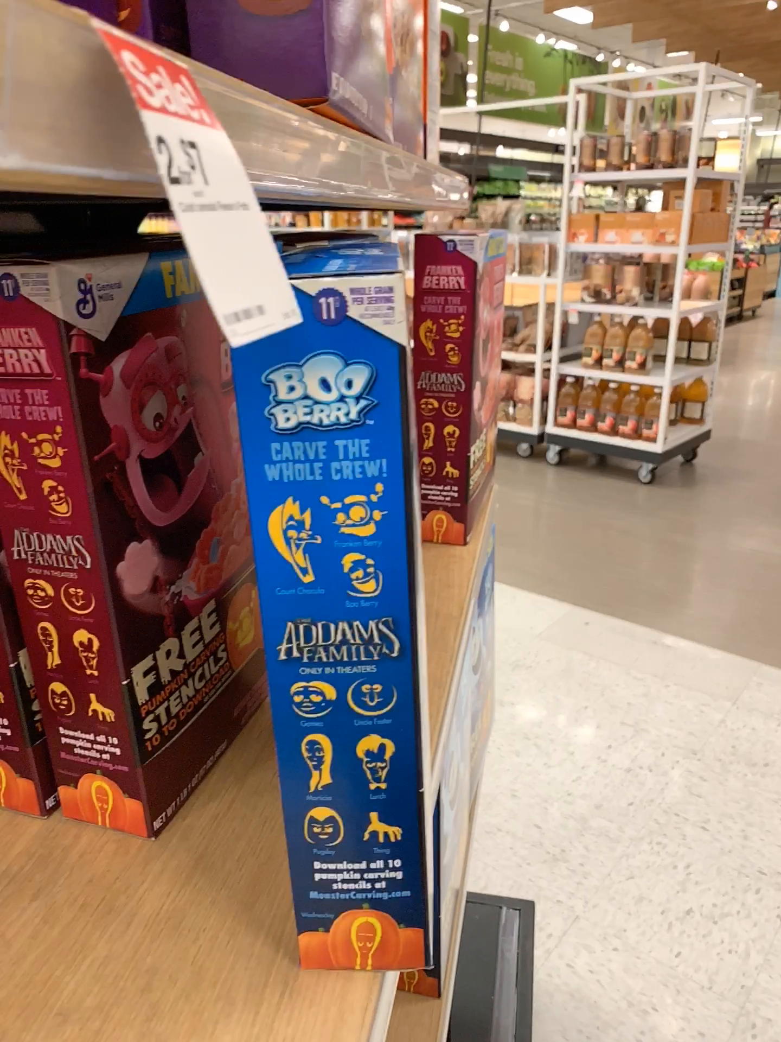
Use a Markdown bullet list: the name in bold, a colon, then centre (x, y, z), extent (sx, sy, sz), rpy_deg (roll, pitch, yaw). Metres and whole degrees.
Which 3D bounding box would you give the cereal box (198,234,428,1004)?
- **cereal box**: centre (-0.025, 0.021, 0.411), extent (0.060, 0.309, 0.241), rpy_deg (-3, 20, -1)
